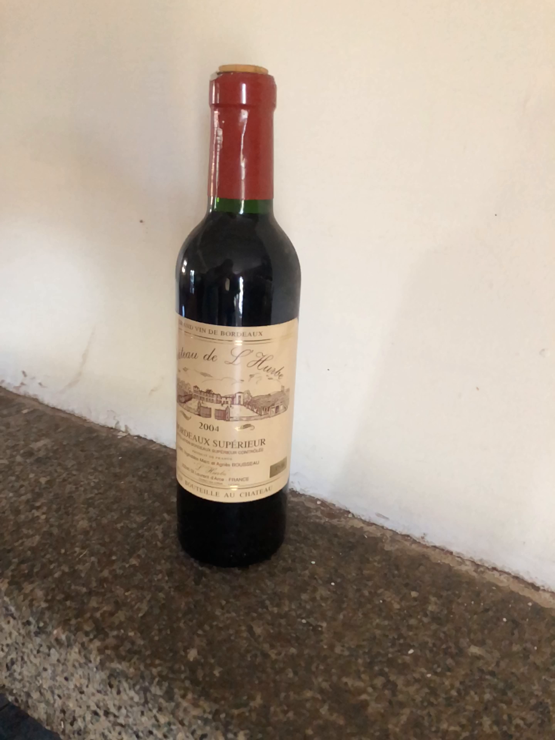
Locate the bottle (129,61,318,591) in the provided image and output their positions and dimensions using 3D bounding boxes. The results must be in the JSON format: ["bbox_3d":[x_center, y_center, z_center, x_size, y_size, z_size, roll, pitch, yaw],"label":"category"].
[{"bbox_3d":[-0.024,-0.016,0.294,0.060,0.229,0.060,2,18,-1],"label":"bottle"}]
